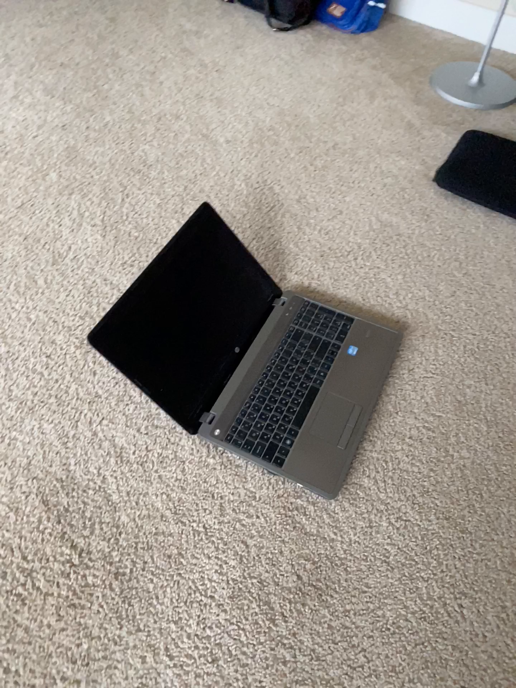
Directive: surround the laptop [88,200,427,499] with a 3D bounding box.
[{"bbox_3d":[0.012,-0.016,0.923,0.435,0.162,0.375,23,56,15],"label":"laptop"}]
